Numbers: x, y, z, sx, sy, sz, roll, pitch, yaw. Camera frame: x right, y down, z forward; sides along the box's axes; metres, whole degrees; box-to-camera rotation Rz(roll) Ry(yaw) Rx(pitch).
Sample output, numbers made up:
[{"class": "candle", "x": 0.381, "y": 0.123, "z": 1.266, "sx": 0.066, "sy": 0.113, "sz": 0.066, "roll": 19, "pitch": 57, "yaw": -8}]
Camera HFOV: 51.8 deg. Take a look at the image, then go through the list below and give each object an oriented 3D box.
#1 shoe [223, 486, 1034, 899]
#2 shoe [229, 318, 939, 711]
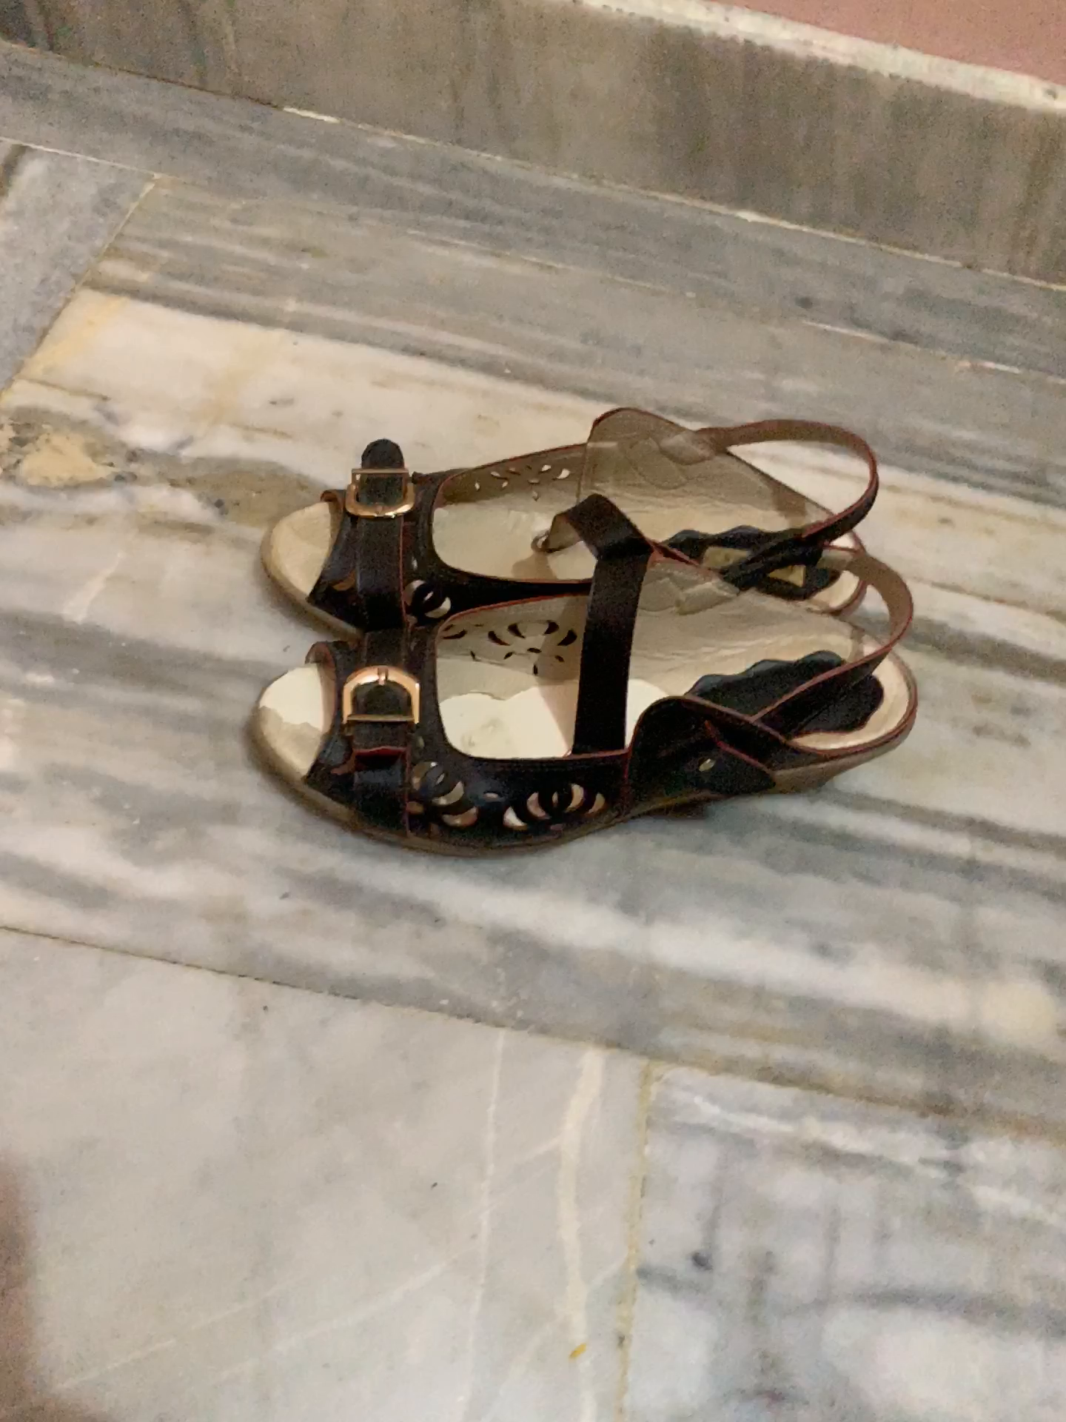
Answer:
[{"class": "shoe", "x": 0.026, "y": -0.001, "z": 0.410, "sx": 0.260, "sy": 0.100, "sz": 0.100, "roll": 3, "pitch": 54, "yaw": -10}, {"class": "shoe", "x": 0.014, "y": -0.077, "z": 0.461, "sx": 0.260, "sy": 0.100, "sz": 0.100, "roll": 3, "pitch": 54, "yaw": -10}]
